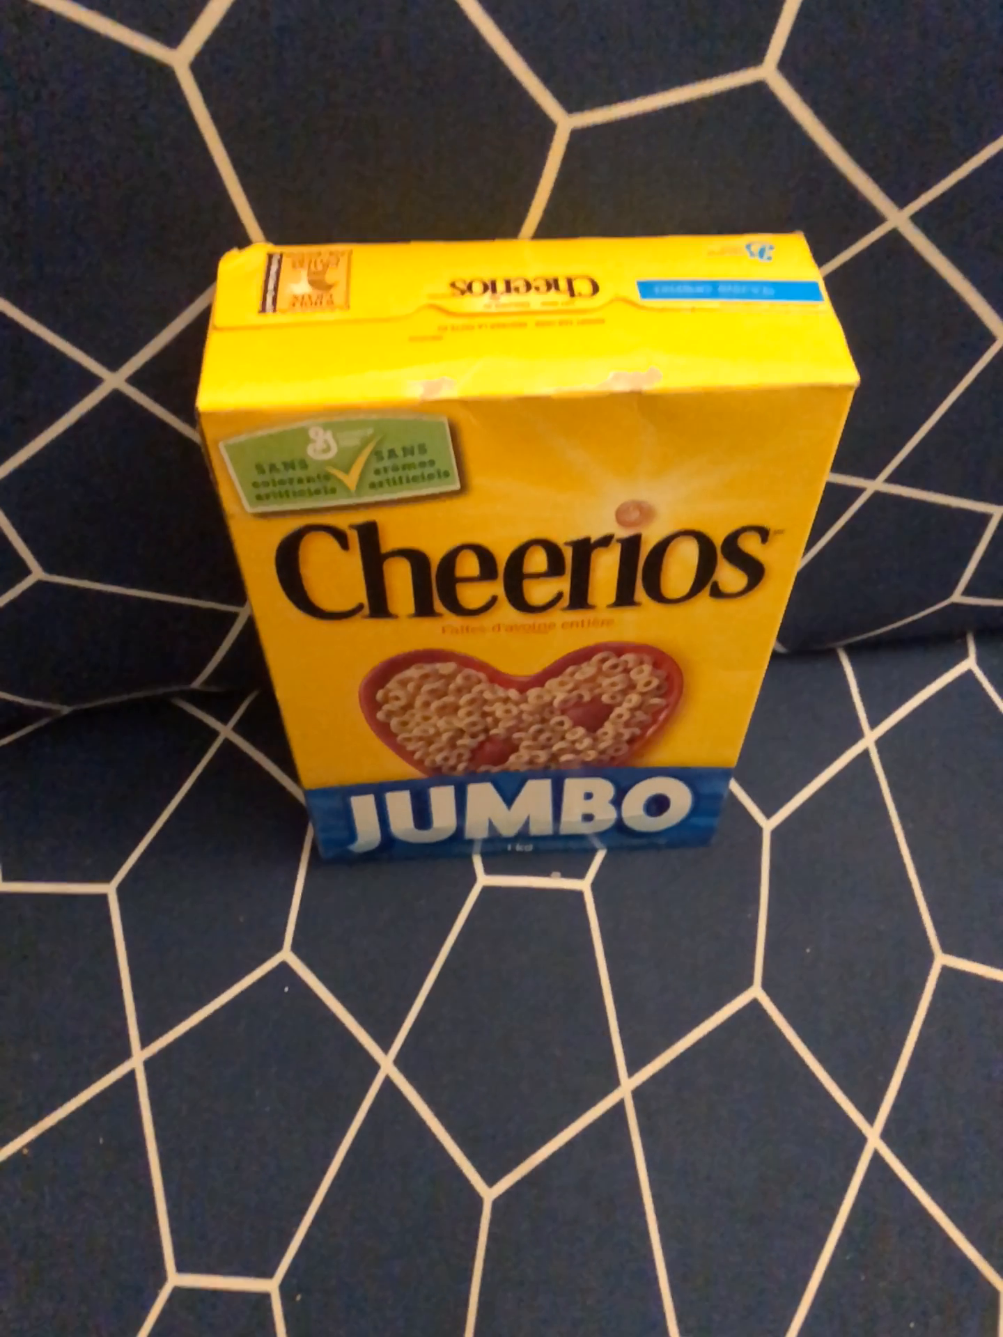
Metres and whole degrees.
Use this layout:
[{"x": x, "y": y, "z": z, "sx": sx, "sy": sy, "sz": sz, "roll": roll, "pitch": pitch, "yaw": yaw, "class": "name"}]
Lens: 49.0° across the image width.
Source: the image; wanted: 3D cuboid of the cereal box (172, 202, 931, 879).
[{"x": 0.011, "y": -0.026, "z": 0.442, "sx": 0.210, "sy": 0.289, "sz": 0.080, "roll": -3, "pitch": 52, "yaw": -3, "class": "cereal box"}]
